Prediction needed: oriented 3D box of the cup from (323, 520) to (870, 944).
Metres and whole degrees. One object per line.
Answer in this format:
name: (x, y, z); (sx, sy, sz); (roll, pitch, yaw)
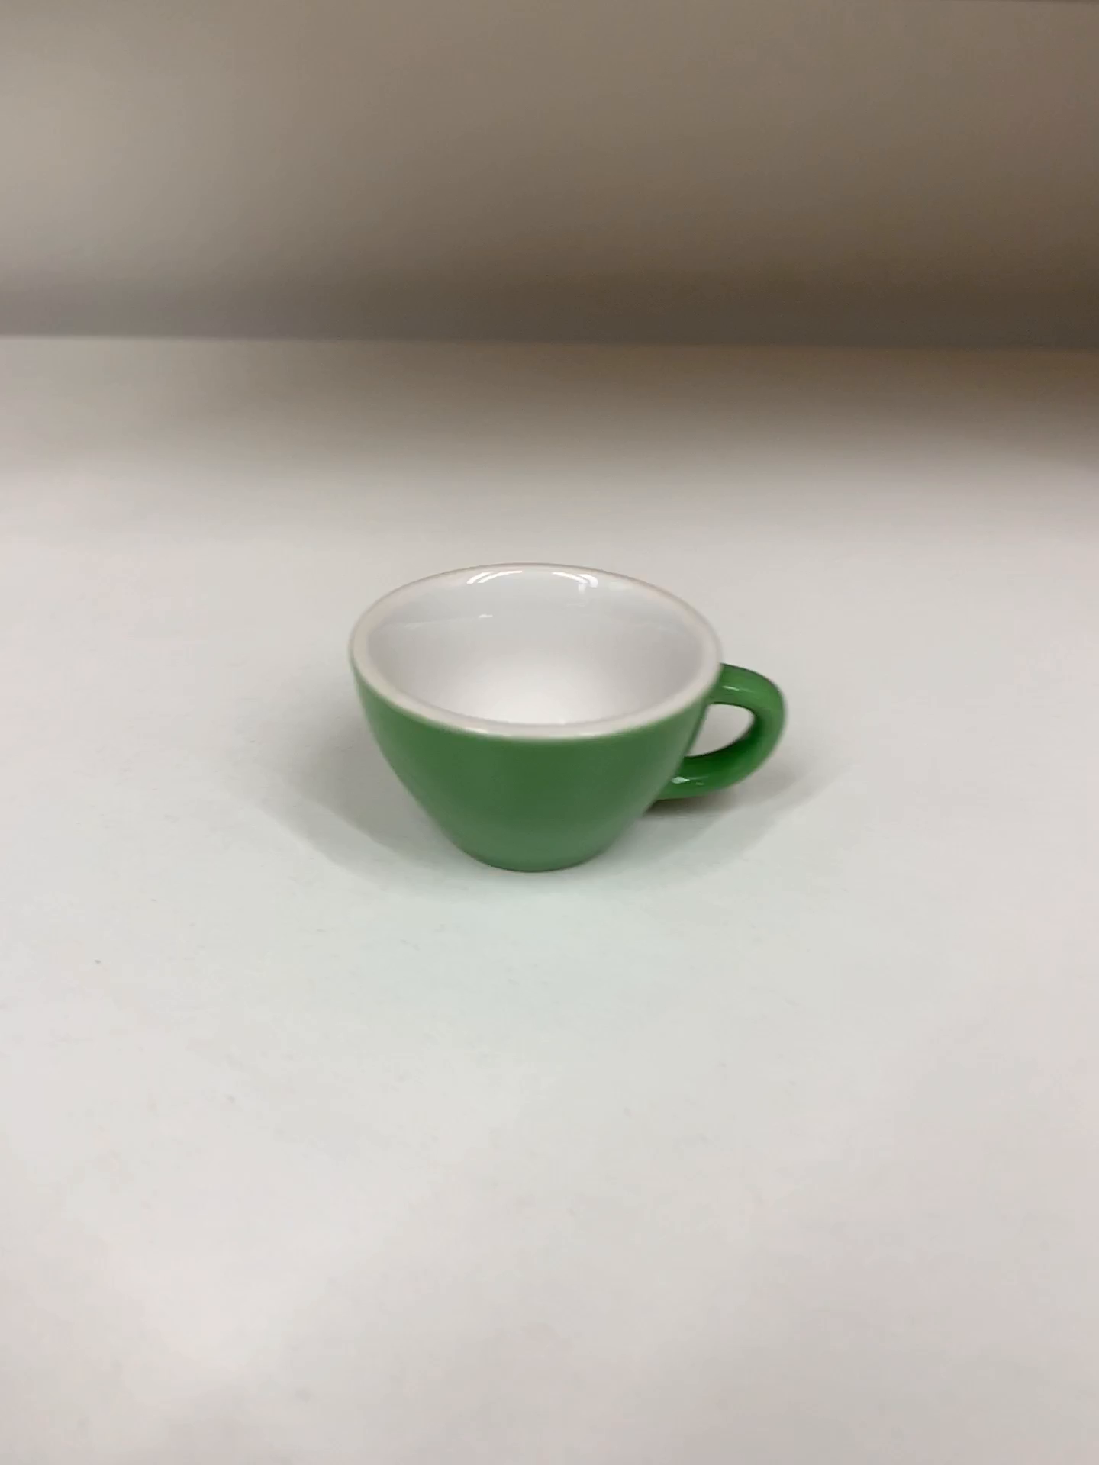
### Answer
cup: (0.004, -0.003, 0.182); (0.070, 0.040, 0.060); (-1, 33, -3)
